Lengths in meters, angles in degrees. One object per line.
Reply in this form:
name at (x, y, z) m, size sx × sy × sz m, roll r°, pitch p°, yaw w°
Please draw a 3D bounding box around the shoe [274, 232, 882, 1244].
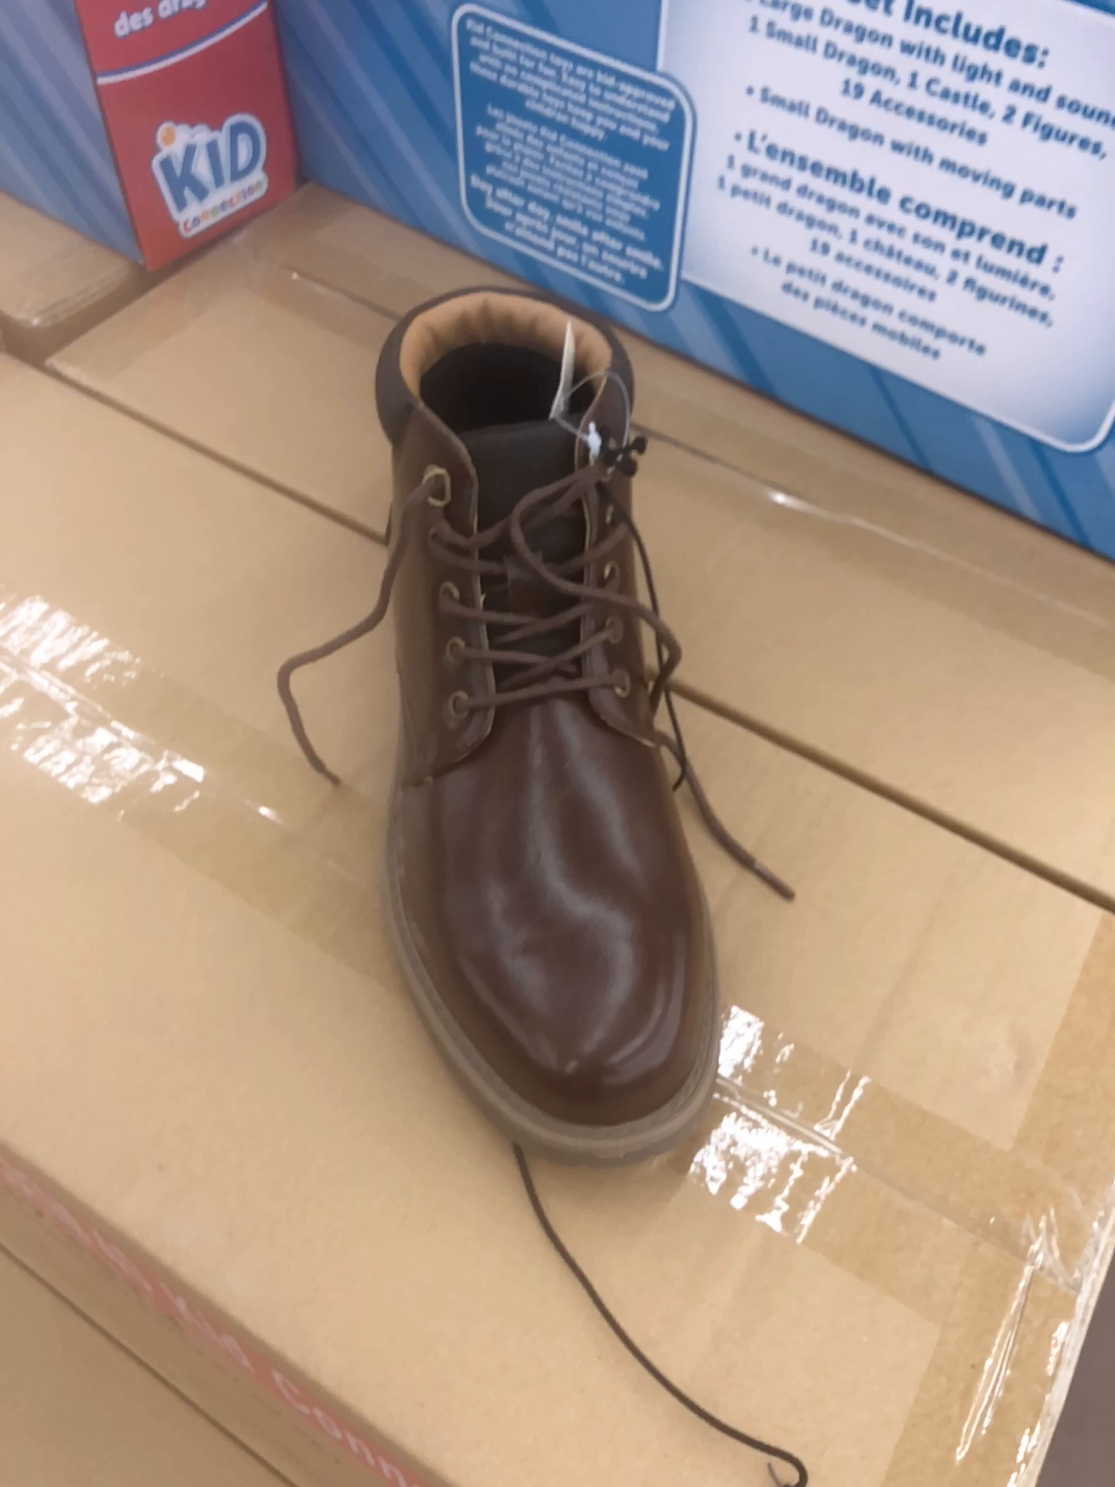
shoe at (-0.016, -0.015, 0.418) m, size 0.120 × 0.160 × 0.291 m, roll -7°, pitch 53°, yaw -8°
